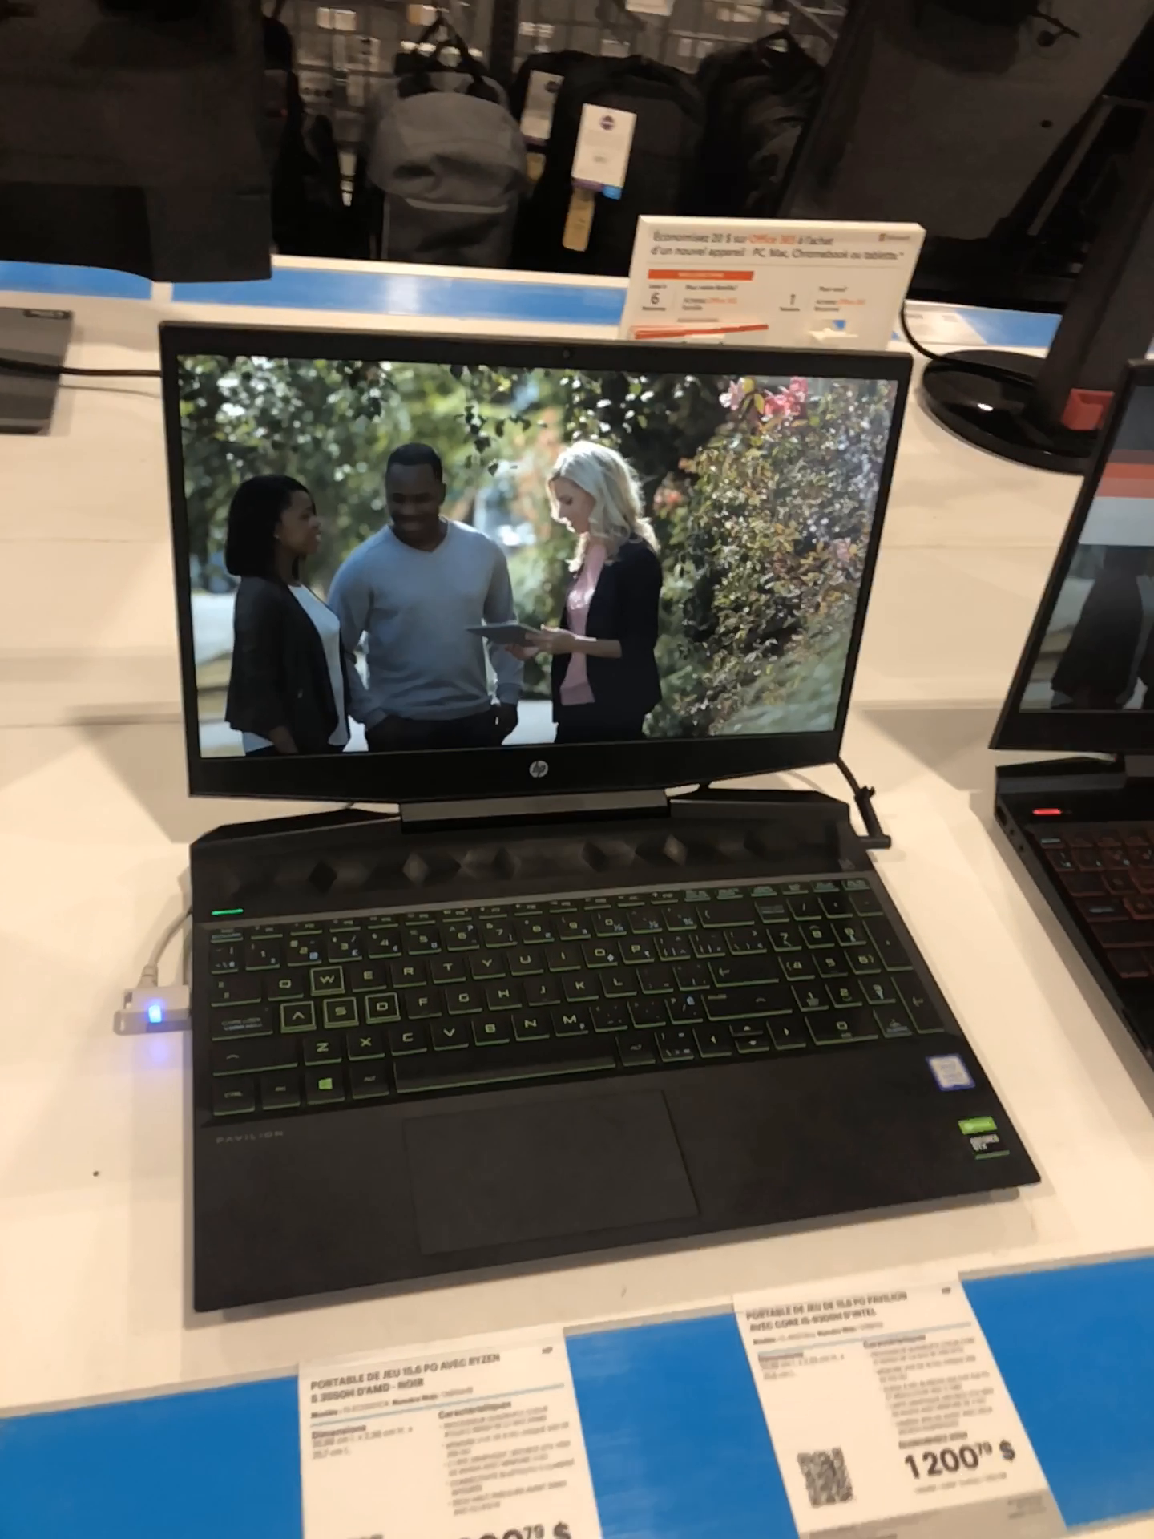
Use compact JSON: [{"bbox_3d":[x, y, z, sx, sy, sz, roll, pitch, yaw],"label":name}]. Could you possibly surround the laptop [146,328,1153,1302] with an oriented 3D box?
[{"bbox_3d":[0.011,-0.004,0.551,0.355,0.232,0.317,-3,41,-16],"label":"laptop"}]
